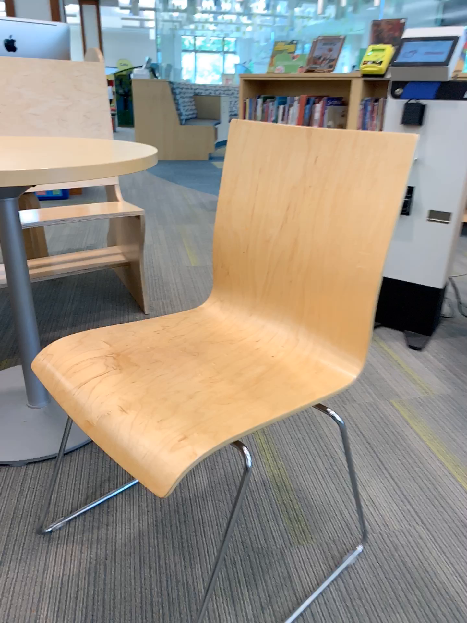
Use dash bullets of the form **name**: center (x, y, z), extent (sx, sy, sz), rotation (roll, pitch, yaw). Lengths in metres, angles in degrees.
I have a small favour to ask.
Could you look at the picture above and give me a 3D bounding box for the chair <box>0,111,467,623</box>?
- **chair**: center (-0.035, 0.081, 0.867), extent (0.621, 0.806, 0.561), rotation (-21, 32, -41)
